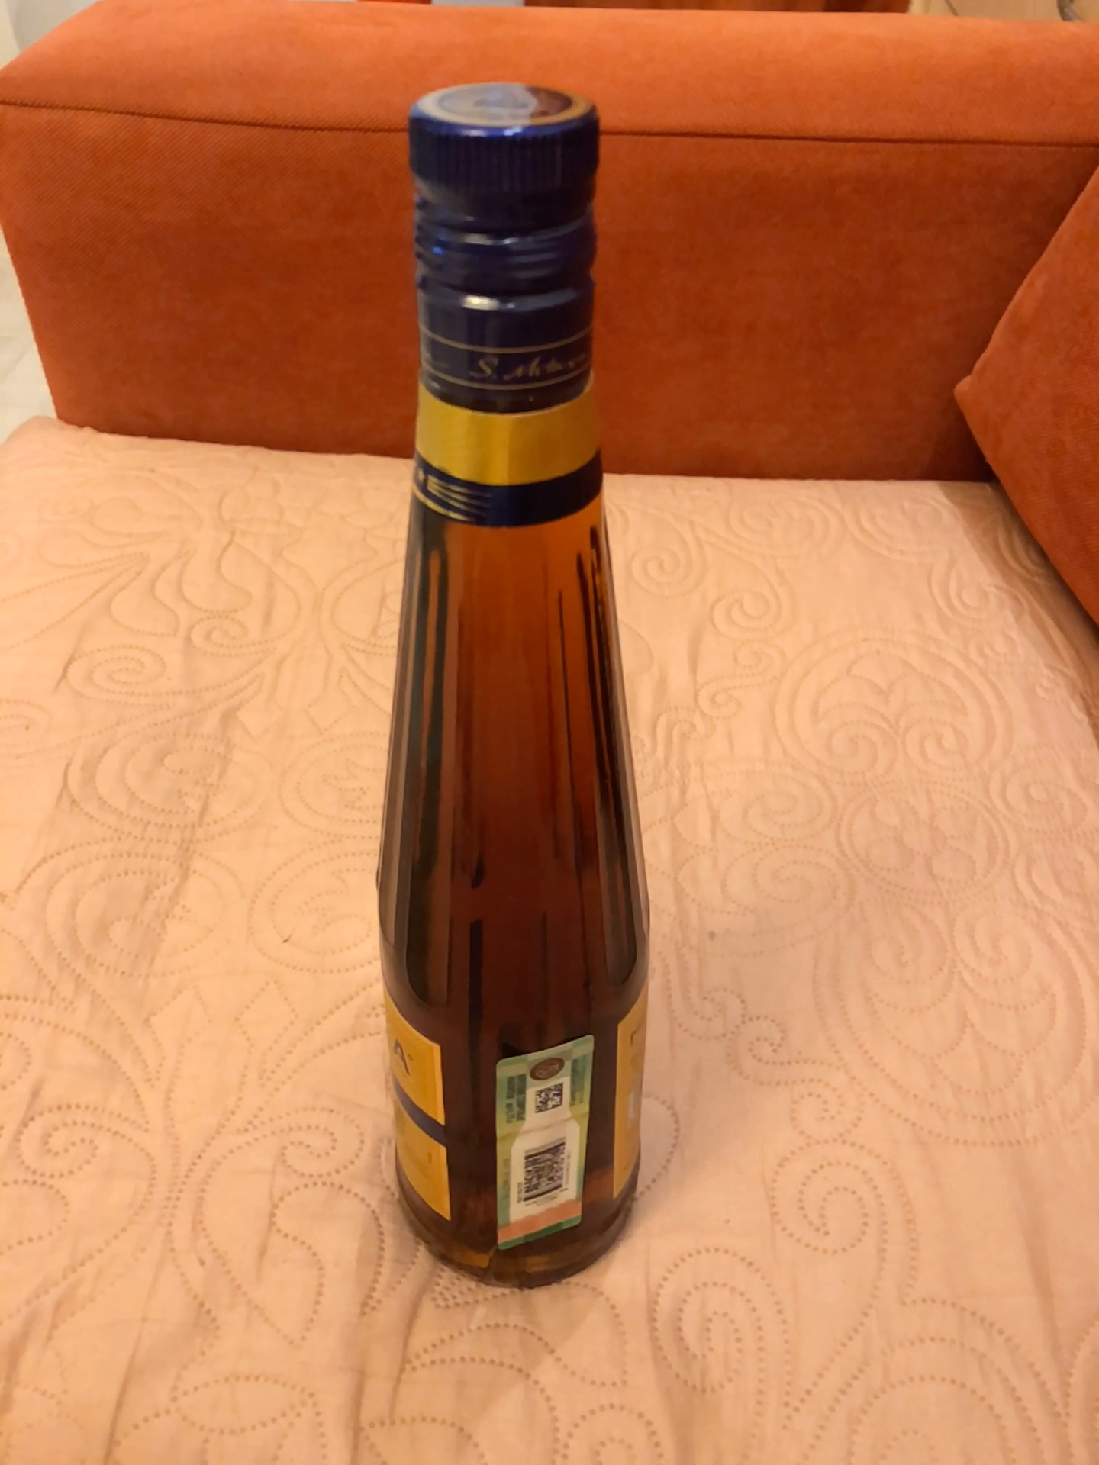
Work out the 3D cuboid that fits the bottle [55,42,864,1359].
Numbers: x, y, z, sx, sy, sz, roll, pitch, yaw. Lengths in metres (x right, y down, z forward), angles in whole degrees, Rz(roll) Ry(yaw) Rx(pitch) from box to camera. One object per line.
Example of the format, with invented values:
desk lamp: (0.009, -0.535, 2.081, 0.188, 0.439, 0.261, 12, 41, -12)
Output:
bottle: (-0.007, 0.028, 0.284, 0.090, 0.308, 0.101, 12, 45, 10)
